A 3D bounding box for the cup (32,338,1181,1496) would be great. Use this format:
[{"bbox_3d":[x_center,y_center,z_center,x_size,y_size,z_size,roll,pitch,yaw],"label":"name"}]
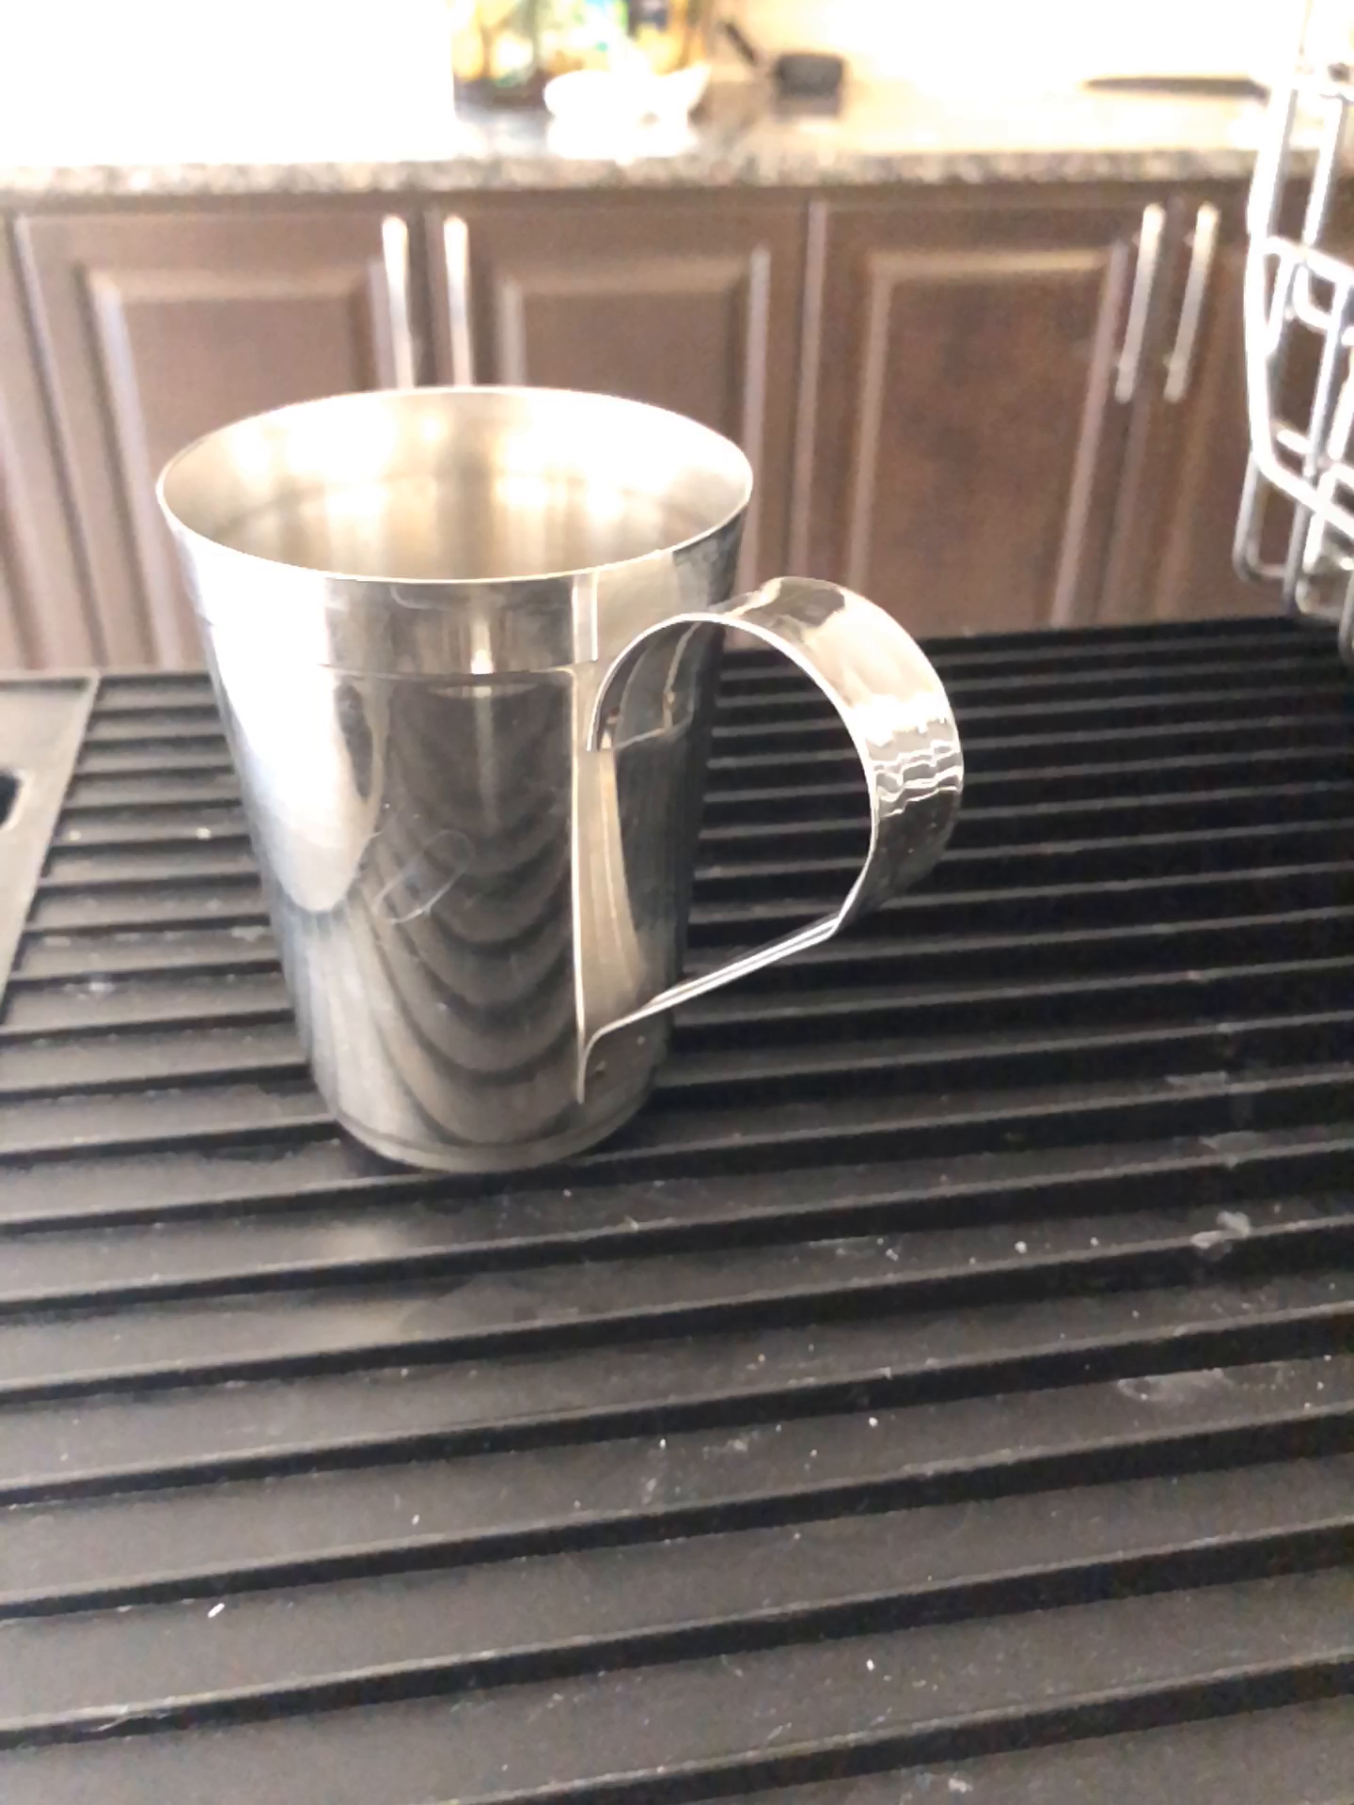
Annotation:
[{"bbox_3d":[-0.011,-0.007,0.196,0.110,0.097,0.065,23,39,30],"label":"cup"}]
